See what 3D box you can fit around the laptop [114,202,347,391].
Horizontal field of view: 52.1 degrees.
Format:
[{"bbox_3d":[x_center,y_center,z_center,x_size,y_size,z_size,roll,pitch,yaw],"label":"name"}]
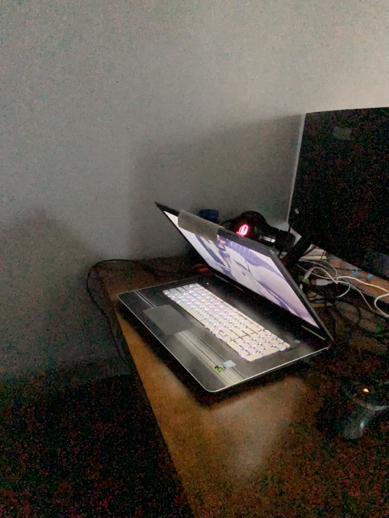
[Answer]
[{"bbox_3d":[0.035,0.027,0.781,0.257,0.187,0.394,-10,21,-29],"label":"laptop"}]
